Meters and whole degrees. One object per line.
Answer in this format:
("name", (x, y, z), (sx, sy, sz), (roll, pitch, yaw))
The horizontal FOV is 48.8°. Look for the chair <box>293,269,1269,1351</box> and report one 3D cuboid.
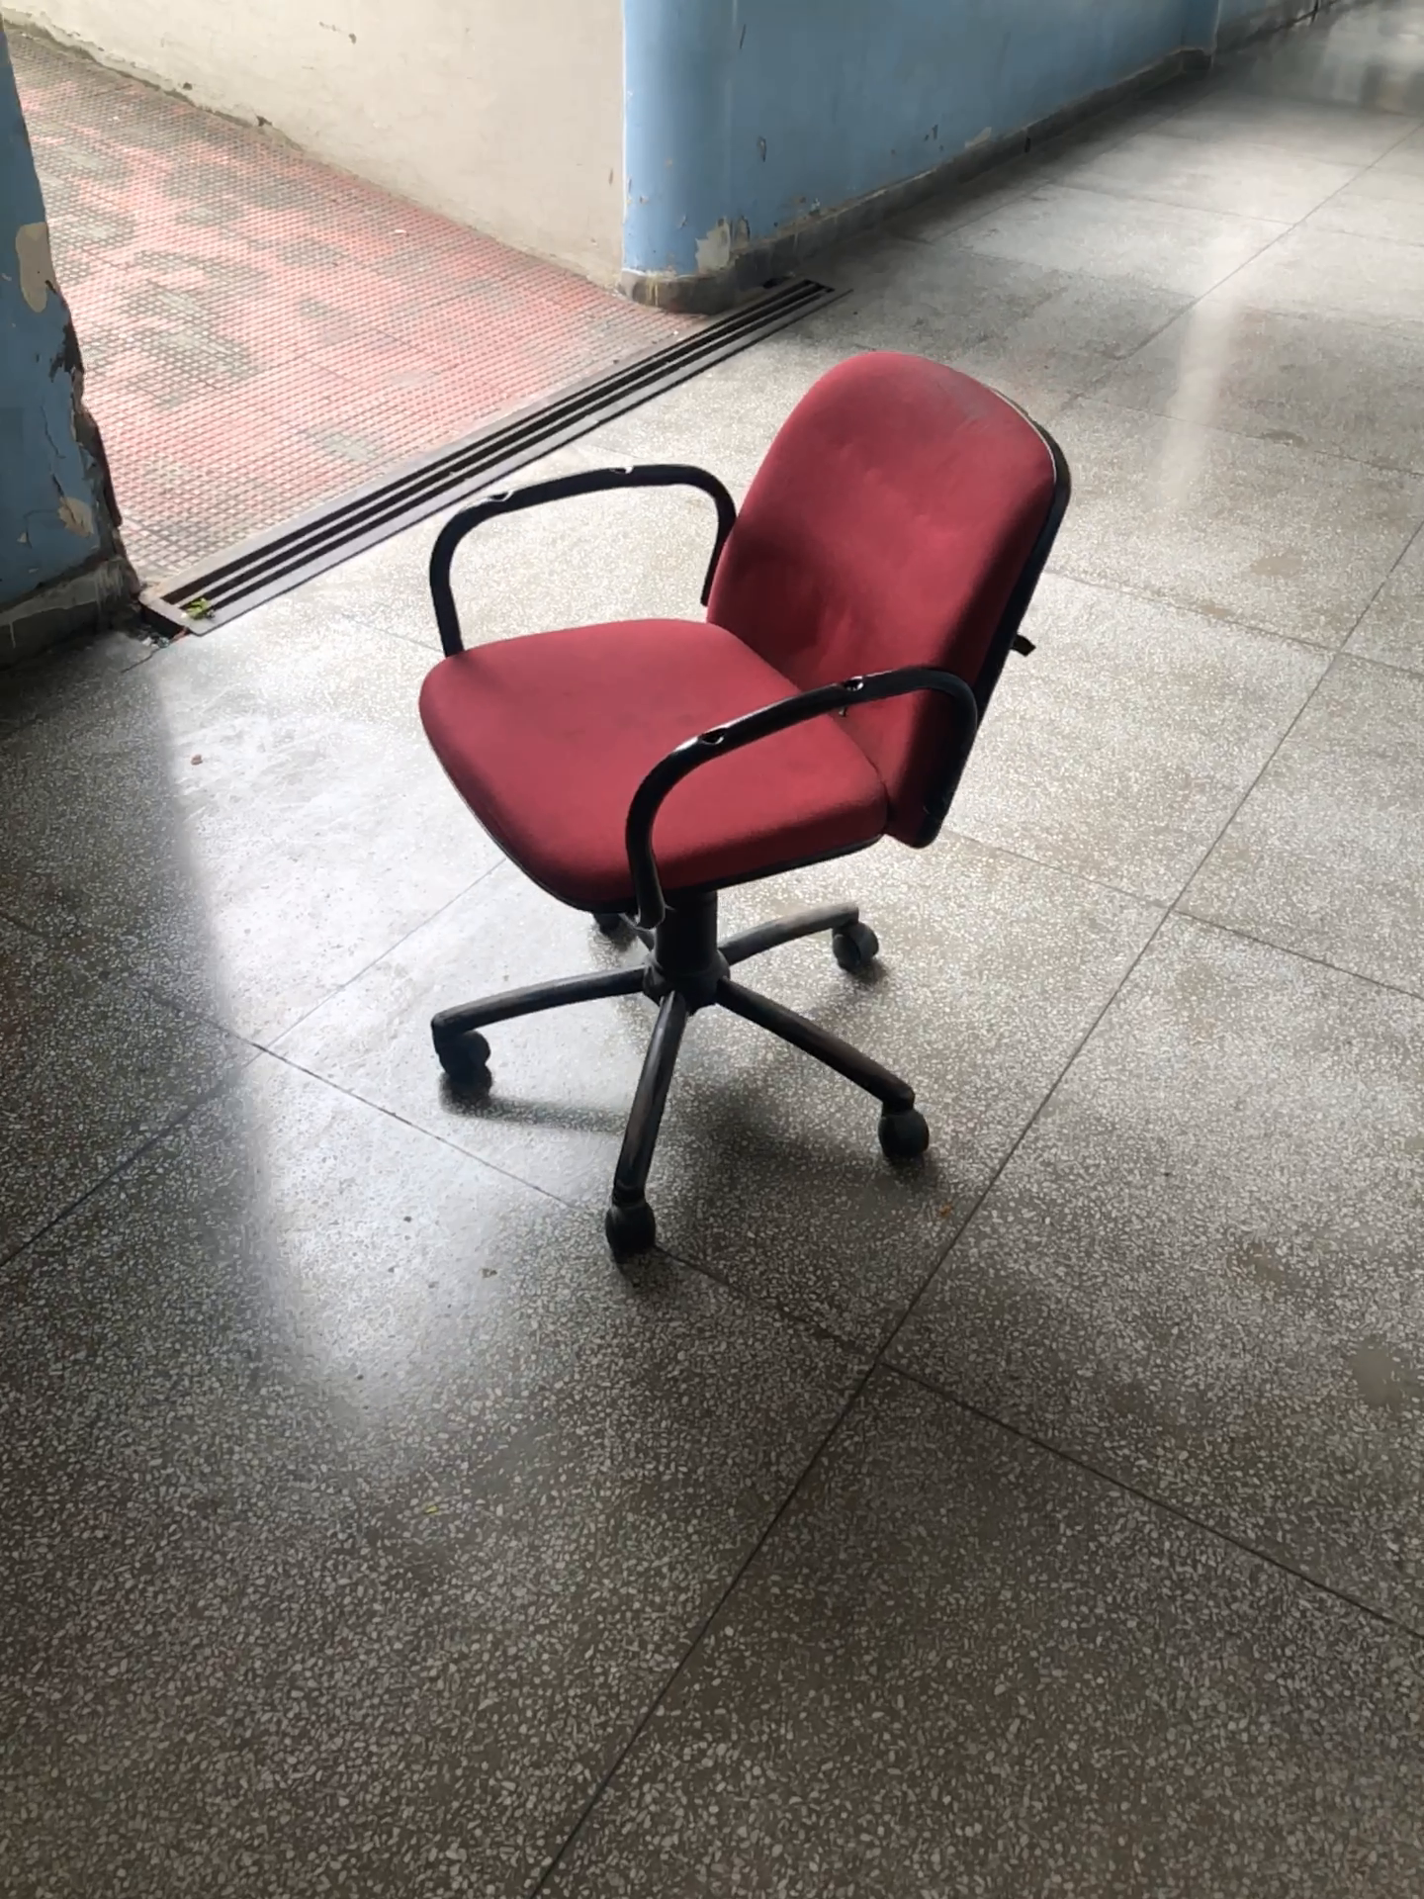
("chair", (0.025, -0.182, 1.678), (0.640, 0.797, 0.652), (-19, 44, -24))
